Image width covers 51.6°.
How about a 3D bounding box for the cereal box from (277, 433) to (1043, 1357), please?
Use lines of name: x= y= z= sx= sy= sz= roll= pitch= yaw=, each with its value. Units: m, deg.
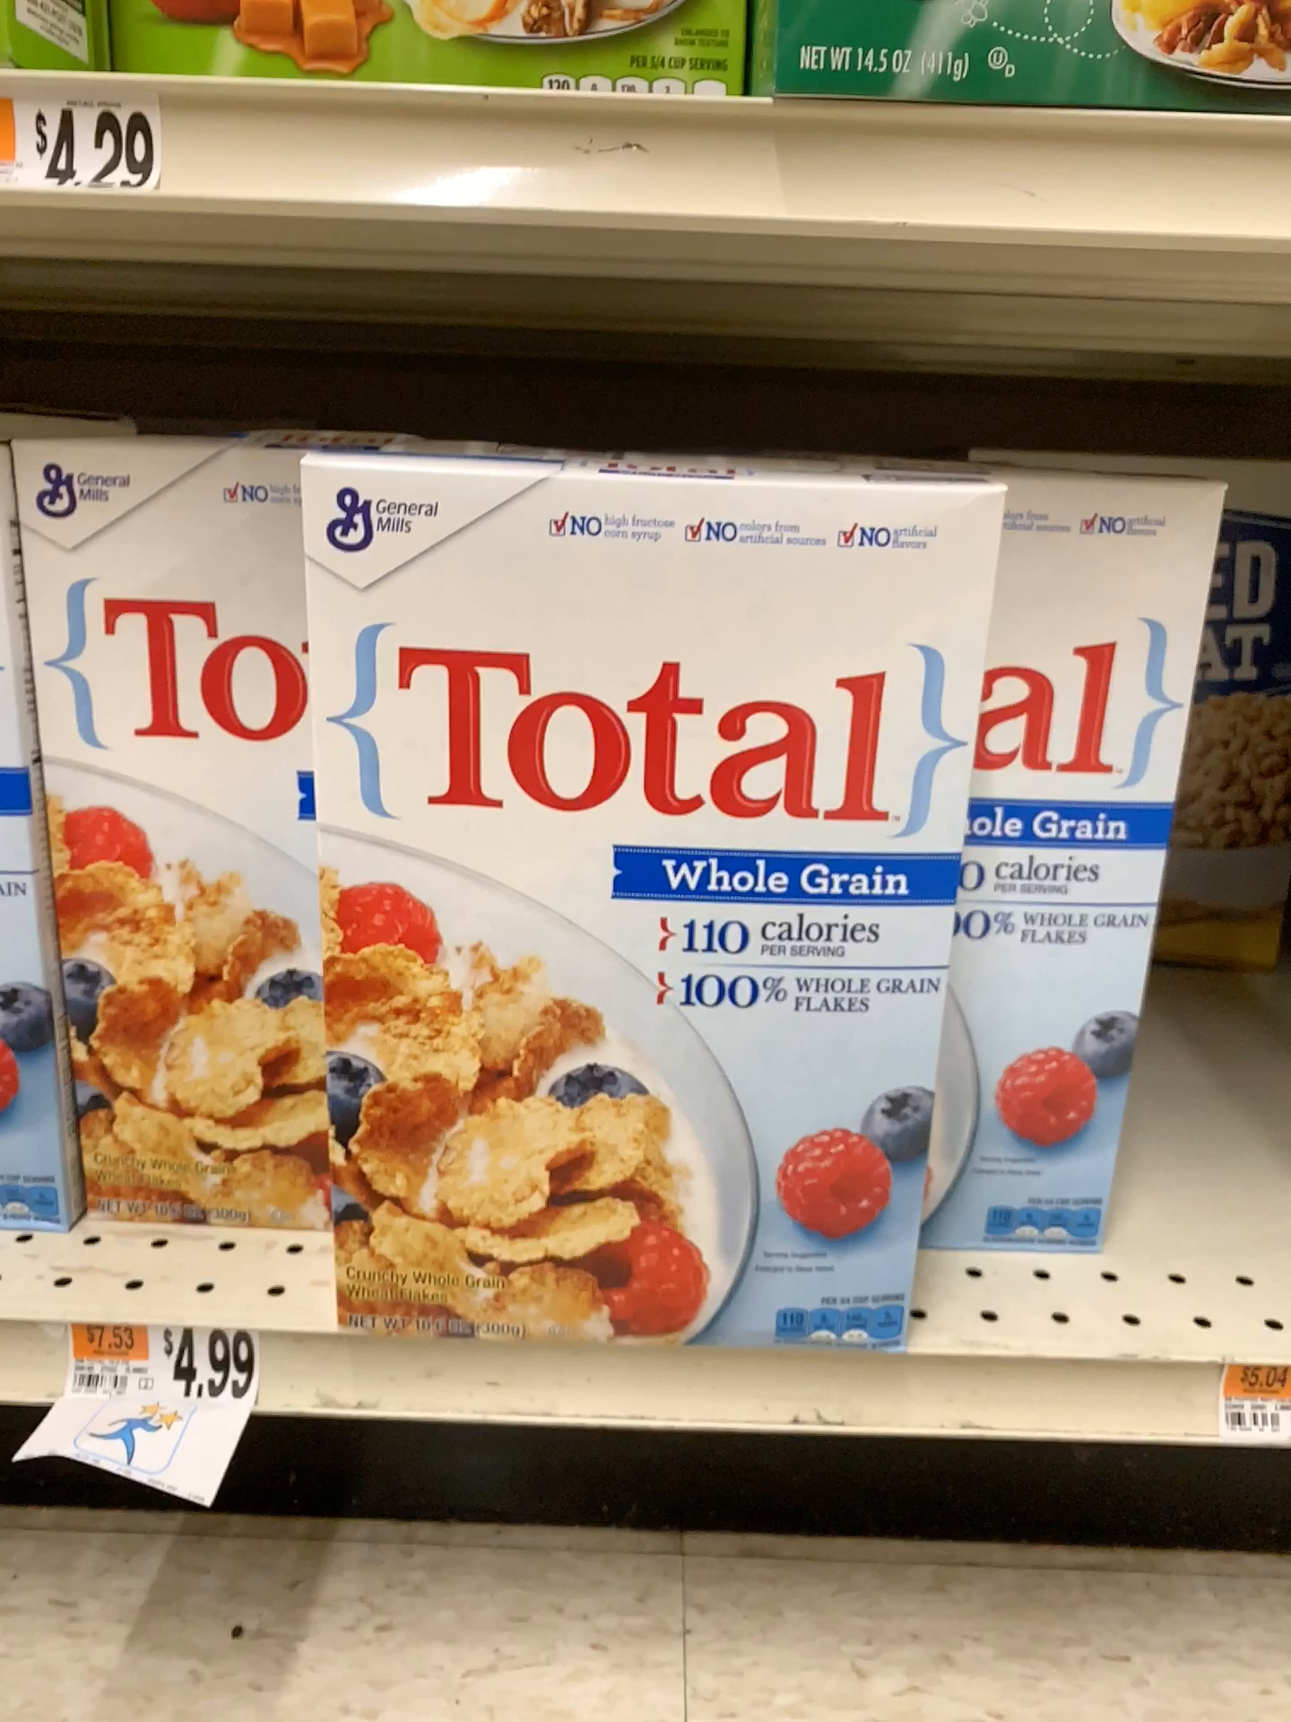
cereal box: x=-0.001 y=0.017 z=0.416 sx=0.200 sy=0.279 sz=0.050 roll=2 pitch=18 yaw=1
